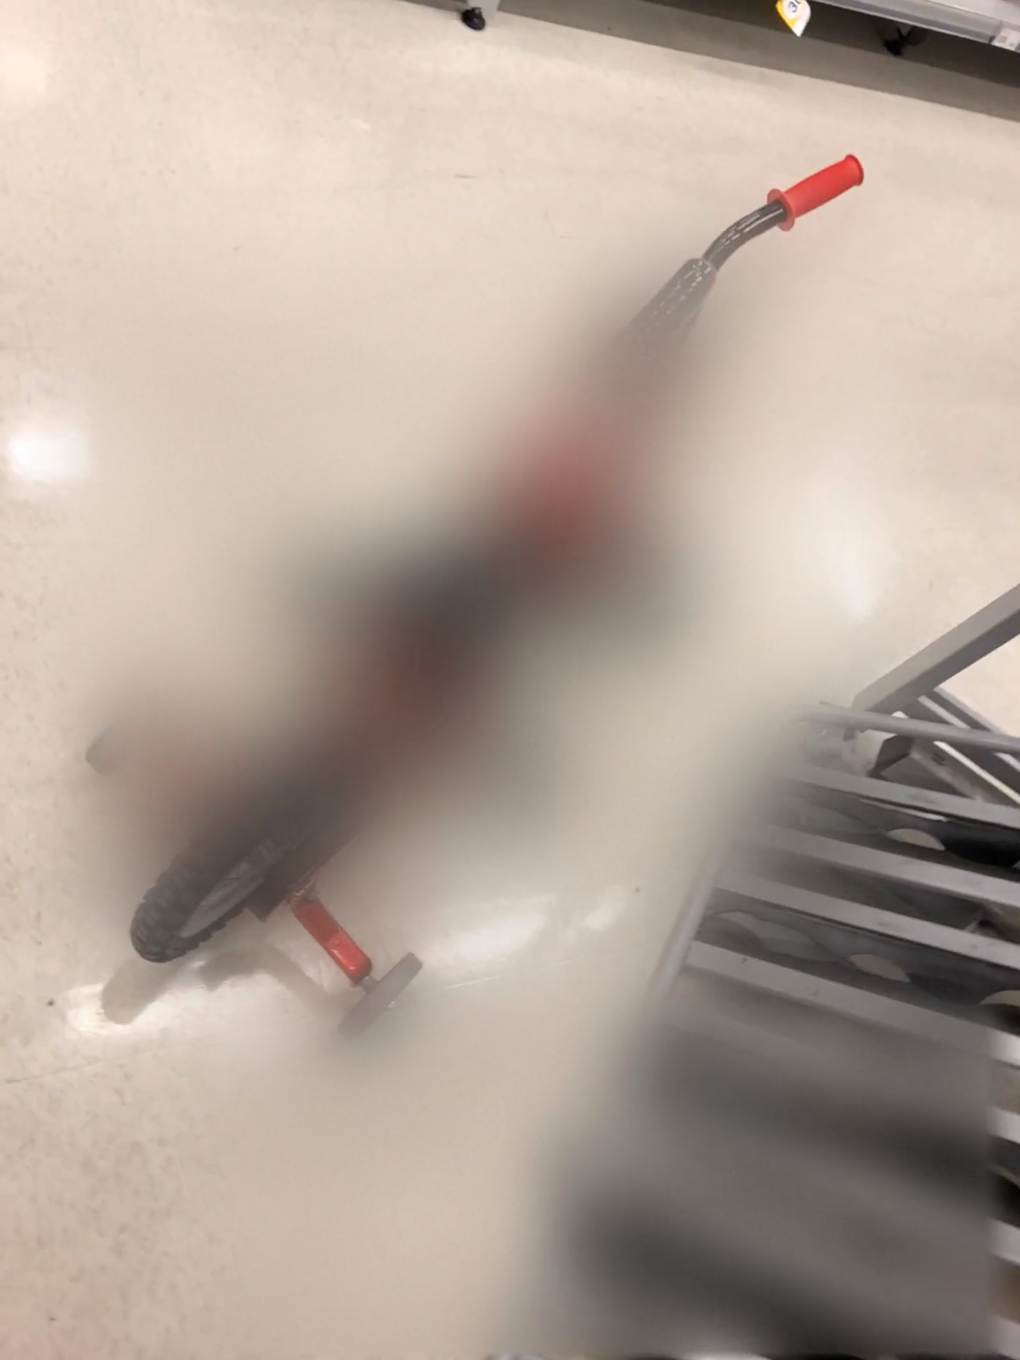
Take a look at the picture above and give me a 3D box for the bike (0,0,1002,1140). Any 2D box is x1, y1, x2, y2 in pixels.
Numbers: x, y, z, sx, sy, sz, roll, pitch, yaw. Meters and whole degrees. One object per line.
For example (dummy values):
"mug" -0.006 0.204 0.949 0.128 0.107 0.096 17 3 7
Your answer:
"bike" -0.072 -0.100 1.040 0.531 0.679 0.701 37 54 -2
